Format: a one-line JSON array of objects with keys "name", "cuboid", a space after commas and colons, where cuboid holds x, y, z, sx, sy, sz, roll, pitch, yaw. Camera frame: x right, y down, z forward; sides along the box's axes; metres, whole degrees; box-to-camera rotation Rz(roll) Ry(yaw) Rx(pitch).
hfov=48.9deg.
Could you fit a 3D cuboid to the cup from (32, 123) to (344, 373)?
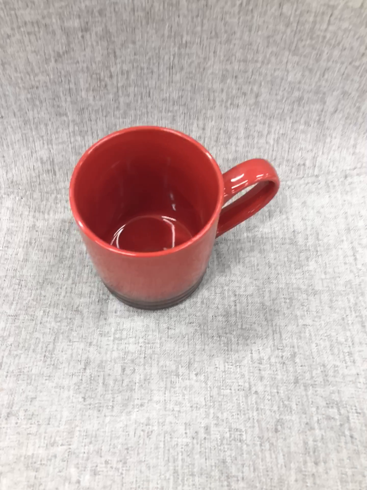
[{"name": "cup", "cuboid": [0.000, 0.008, 0.253, 0.140, 0.100, 0.080, -21, 68, -9]}]
